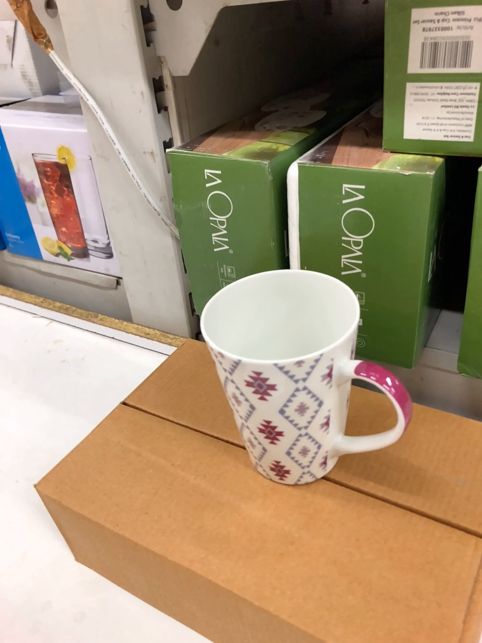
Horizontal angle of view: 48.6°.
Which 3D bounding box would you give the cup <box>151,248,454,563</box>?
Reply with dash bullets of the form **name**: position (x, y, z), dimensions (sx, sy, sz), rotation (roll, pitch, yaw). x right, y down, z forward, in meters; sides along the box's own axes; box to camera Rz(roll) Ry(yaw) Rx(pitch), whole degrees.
- **cup**: position (0.031, 0.035, 0.282), dimensions (0.120, 0.099, 0.080), rotation (21, 42, 35)
